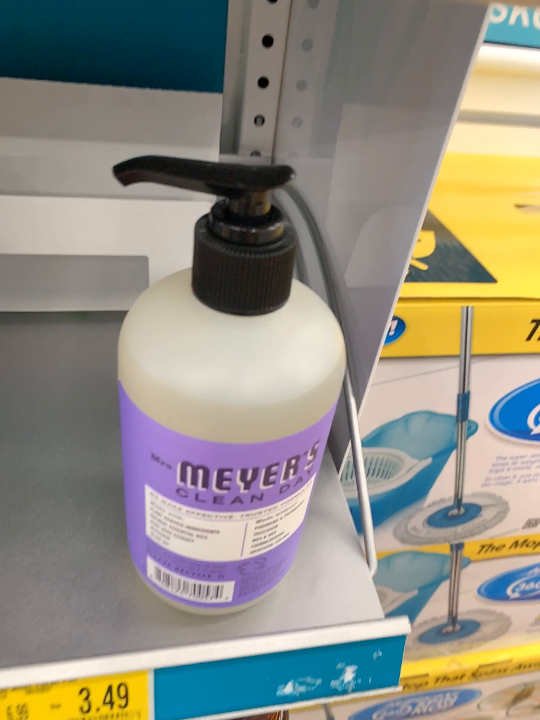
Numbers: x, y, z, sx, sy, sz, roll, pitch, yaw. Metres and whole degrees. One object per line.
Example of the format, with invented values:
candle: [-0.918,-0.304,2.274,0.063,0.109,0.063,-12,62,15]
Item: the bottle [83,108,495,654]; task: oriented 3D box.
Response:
bottle: [-0.009,0.014,0.183,0.080,0.159,0.070,-7,41,-18]
